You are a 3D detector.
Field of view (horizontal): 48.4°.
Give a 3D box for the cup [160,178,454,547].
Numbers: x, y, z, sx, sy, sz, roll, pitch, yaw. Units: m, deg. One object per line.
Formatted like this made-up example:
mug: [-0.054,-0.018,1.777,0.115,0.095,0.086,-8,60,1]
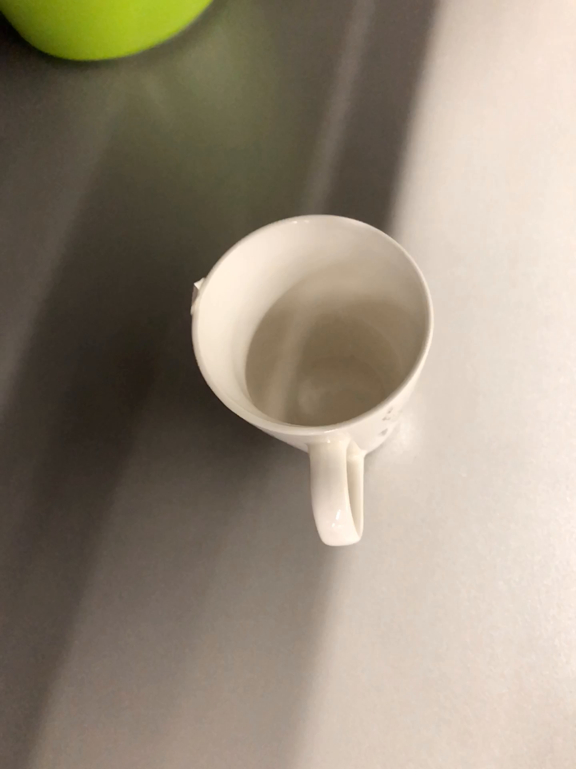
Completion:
cup: [0.012,0.001,0.261,0.091,0.098,0.115,-5,69,9]
